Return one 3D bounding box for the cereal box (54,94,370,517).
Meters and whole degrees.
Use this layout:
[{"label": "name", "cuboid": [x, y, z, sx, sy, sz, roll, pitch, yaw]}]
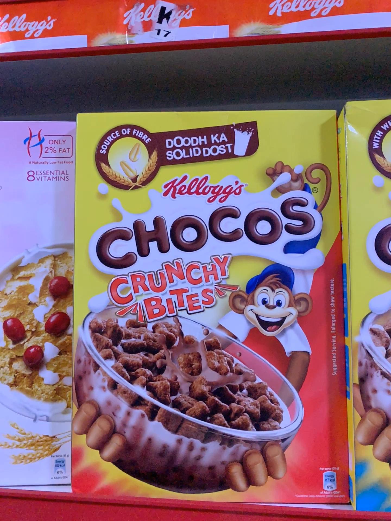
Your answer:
[{"label": "cereal box", "cuboid": [0.010, 0.025, 0.295, 0.190, 0.260, 0.080, 0, -5, -2]}]
